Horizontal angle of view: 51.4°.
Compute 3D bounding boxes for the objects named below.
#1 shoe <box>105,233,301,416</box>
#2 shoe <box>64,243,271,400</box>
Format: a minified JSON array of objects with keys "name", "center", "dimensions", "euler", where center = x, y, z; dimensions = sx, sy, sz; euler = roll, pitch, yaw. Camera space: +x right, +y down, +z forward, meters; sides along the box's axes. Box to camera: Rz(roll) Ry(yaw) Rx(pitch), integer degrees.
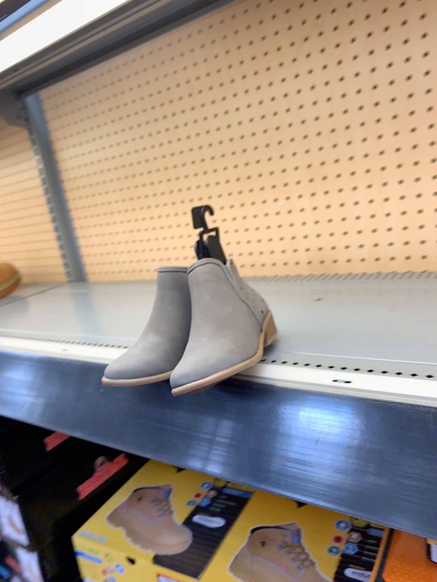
[{"name":"shoe","center":[-0.003,0.023,0.456],"dimensions":[0.074,0.113,0.186],"euler":[-20,5,34]},{"name":"shoe","center":[-0.048,0.023,0.505],"dimensions":[0.196,0.103,0.087],"euler":[-22,14,-38]}]
